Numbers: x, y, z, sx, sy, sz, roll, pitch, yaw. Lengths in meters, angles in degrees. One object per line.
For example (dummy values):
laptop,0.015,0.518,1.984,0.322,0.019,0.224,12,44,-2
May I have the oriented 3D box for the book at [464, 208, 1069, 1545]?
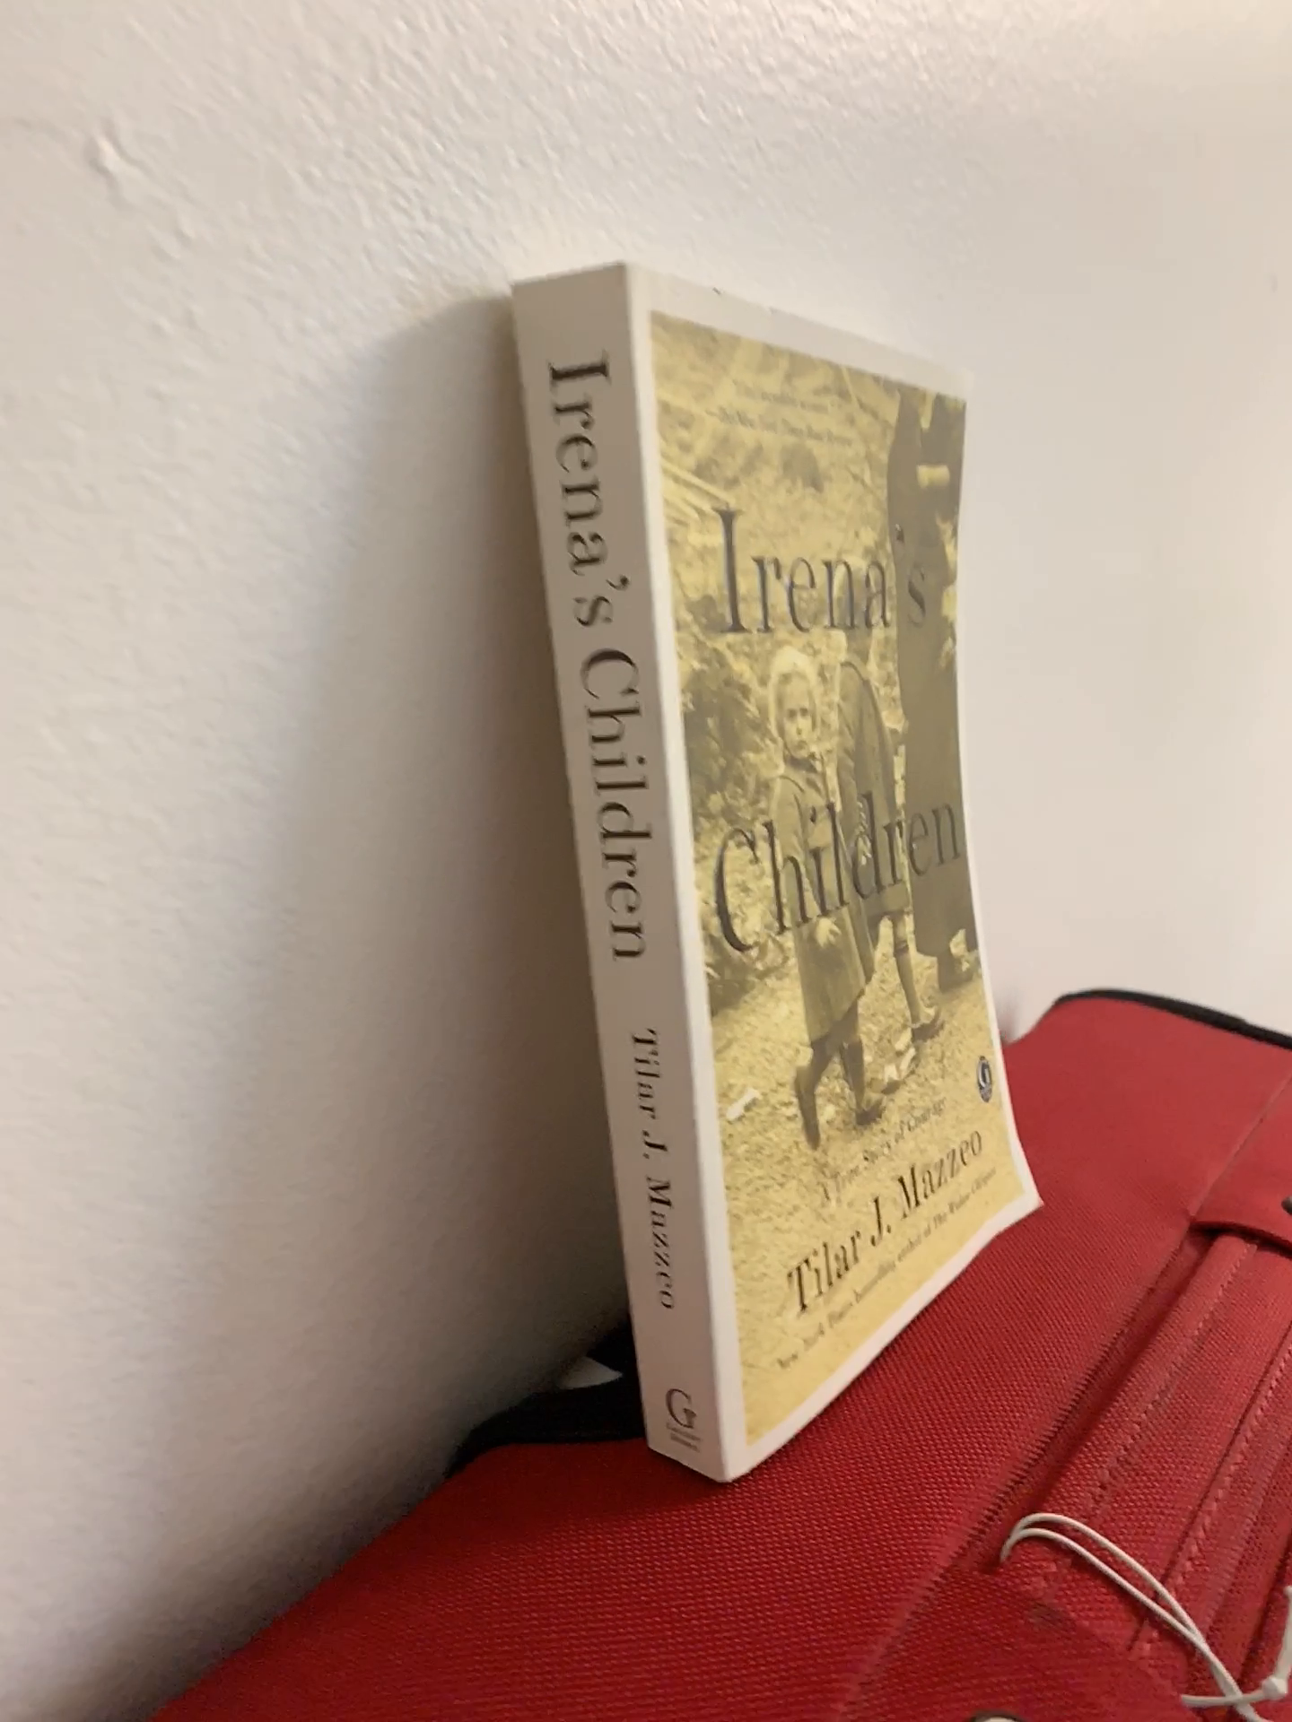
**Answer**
book,0.044,-0.005,0.301,0.030,0.229,0.171,2,12,38
